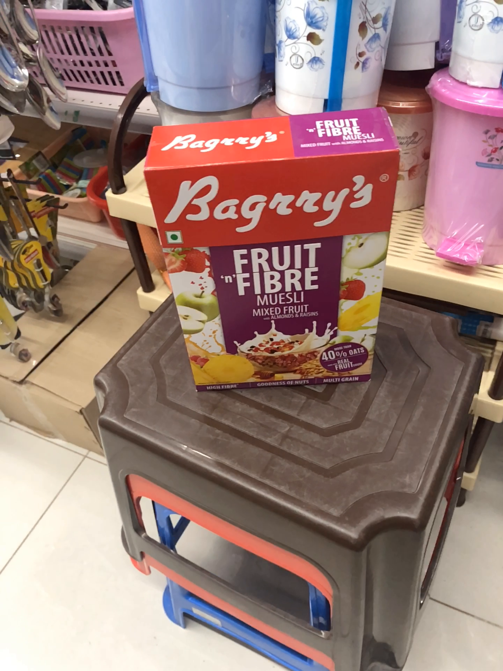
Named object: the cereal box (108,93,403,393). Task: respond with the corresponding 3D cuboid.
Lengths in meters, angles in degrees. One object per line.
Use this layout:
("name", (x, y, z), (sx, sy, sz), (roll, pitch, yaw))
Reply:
("cereal box", (0.012, -0.062, 0.494), (0.200, 0.259, 0.070), (-4, 46, 3))
